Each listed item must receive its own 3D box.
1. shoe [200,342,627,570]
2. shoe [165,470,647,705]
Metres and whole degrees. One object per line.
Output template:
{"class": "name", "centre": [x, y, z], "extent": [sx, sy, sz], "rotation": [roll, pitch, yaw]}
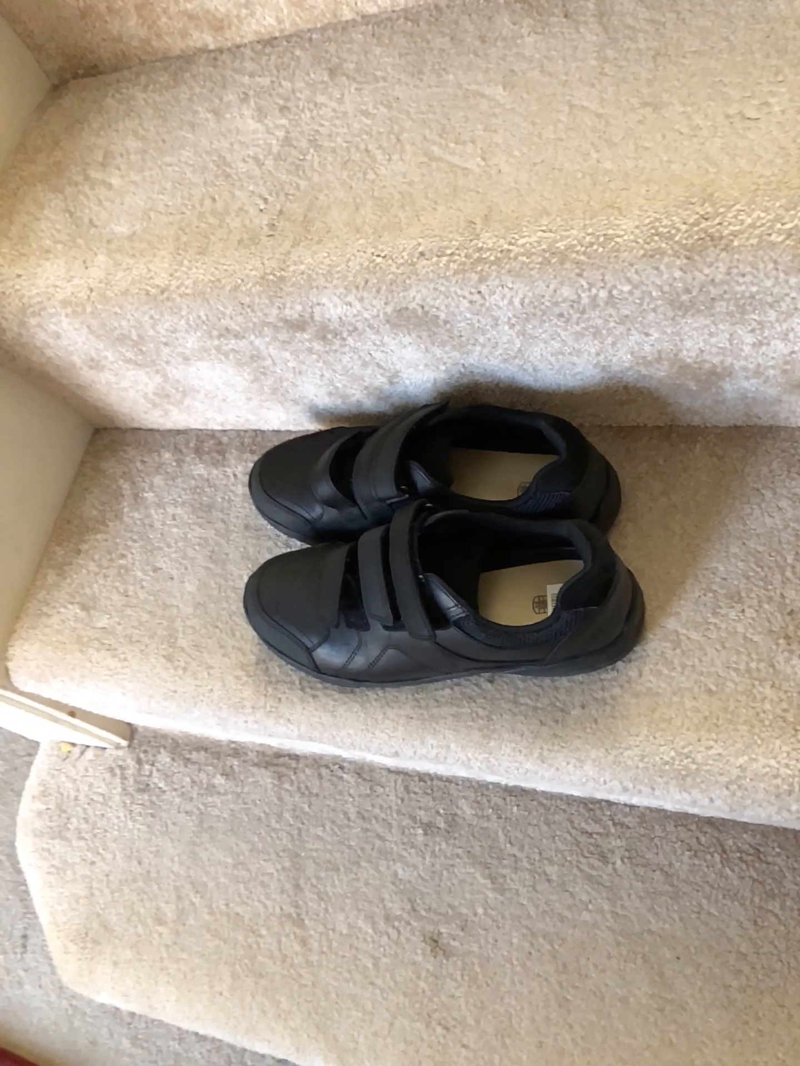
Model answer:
{"class": "shoe", "centre": [0.012, -0.045, 0.616], "extent": [0.270, 0.100, 0.100], "rotation": [-3, 62, 22]}
{"class": "shoe", "centre": [0.007, 0.040, 0.545], "extent": [0.270, 0.100, 0.100], "rotation": [-3, 62, 22]}
